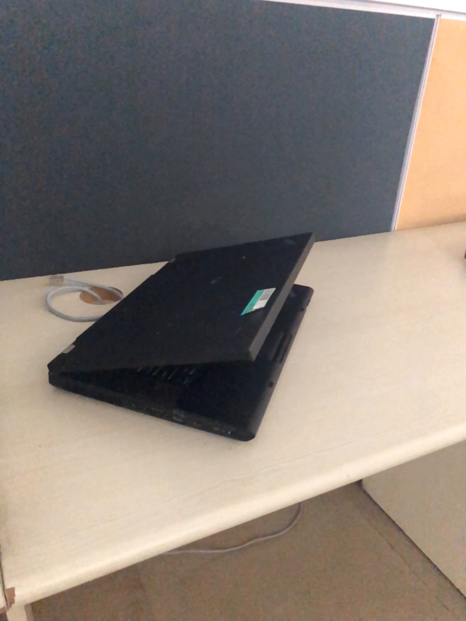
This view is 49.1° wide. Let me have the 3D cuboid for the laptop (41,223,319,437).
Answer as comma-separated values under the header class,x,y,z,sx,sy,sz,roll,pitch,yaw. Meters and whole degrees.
class,x,y,z,sx,sy,sz,roll,pitch,yaw
laptop,-0.035,-0.009,0.673,0.234,0.077,0.365,12,28,13
